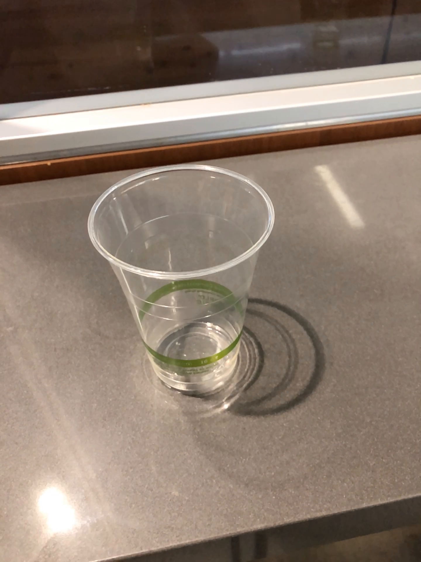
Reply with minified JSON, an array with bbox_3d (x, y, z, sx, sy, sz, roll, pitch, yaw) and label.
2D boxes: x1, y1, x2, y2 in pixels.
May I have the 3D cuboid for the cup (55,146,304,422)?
[{"bbox_3d":[-0.009,-0.002,0.285,0.100,0.109,0.100,-2,42,1],"label":"cup"}]
